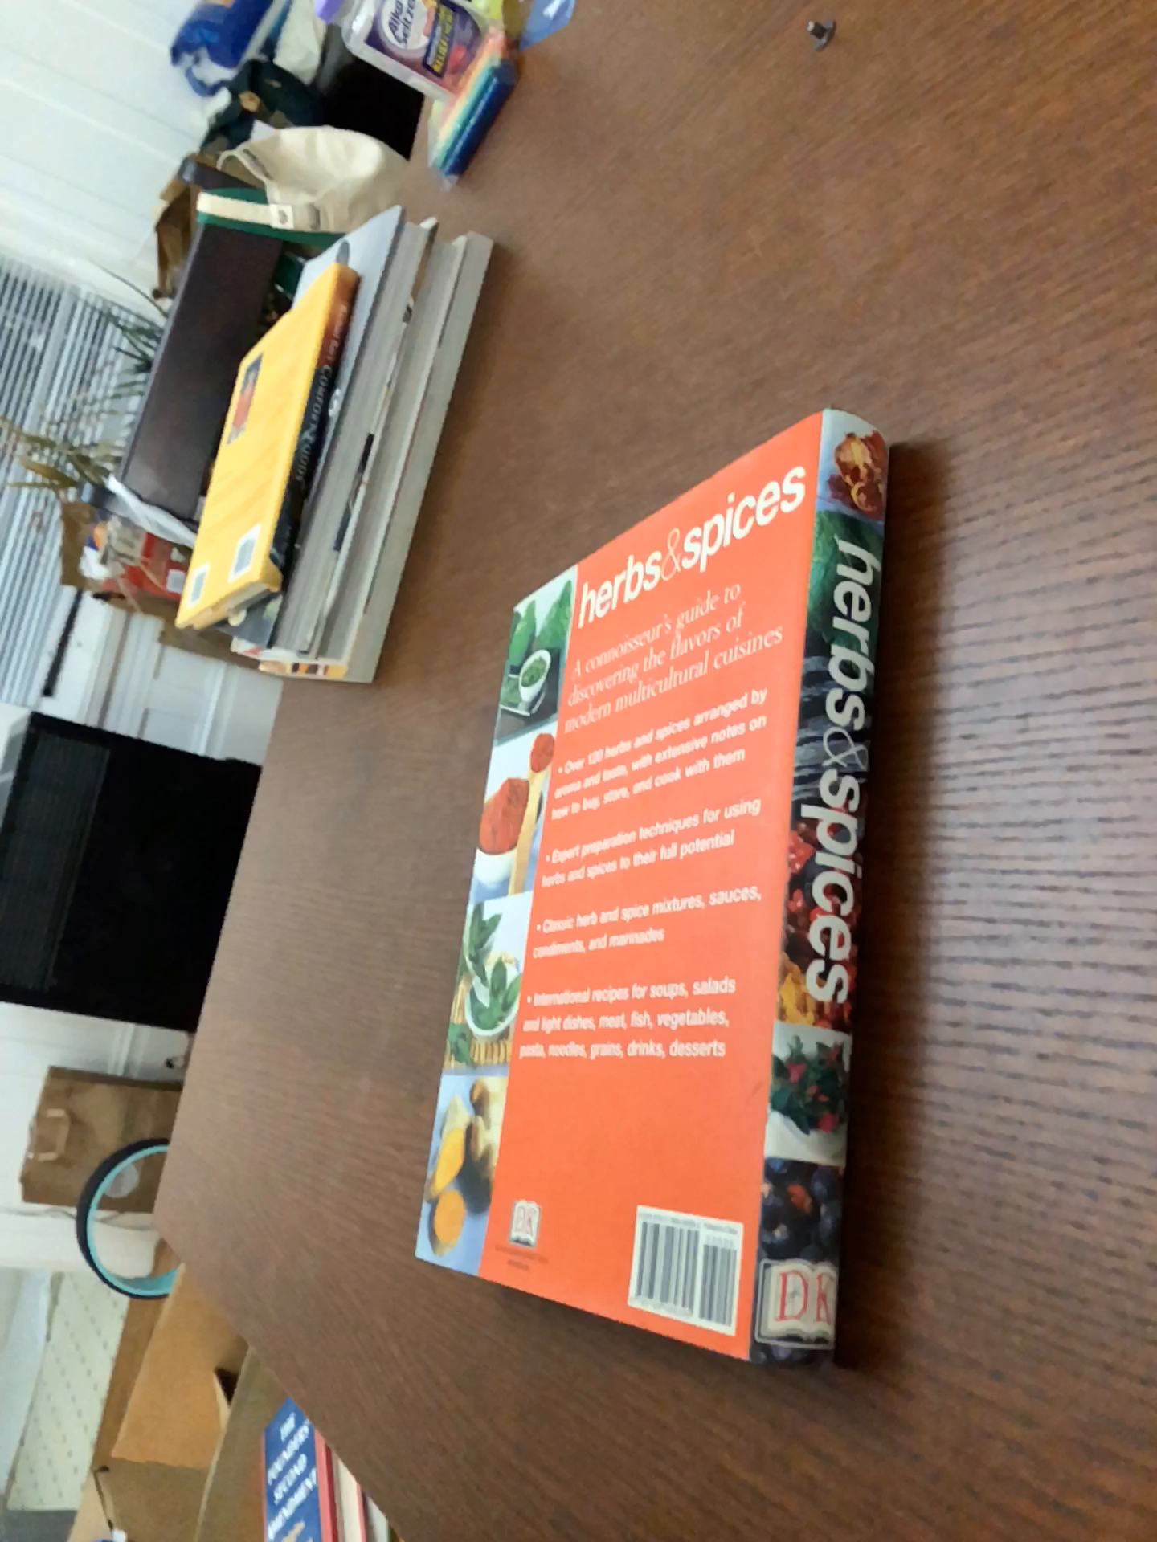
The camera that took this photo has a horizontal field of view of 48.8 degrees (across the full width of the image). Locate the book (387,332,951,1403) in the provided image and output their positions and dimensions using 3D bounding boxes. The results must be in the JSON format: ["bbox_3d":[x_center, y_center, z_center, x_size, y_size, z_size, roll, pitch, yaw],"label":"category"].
[{"bbox_3d":[0.020,0.031,0.412,0.211,0.040,0.270,-19,59,58],"label":"book"}]
